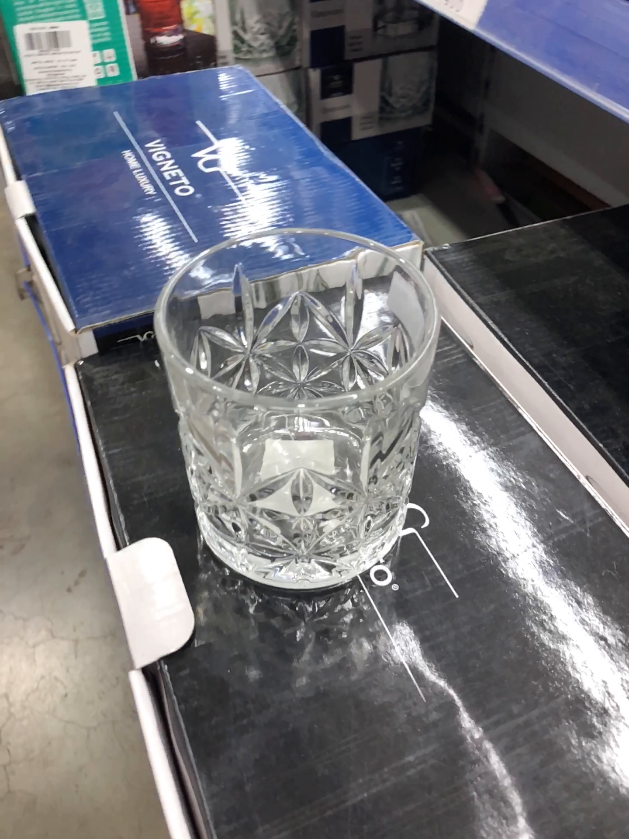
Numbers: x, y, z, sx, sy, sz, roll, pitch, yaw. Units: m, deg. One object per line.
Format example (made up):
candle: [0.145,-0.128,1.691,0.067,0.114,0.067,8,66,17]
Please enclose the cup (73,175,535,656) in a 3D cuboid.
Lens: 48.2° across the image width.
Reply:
cup: [-0.006,-0.006,0.248,0.100,0.100,0.100,0,46,0]
